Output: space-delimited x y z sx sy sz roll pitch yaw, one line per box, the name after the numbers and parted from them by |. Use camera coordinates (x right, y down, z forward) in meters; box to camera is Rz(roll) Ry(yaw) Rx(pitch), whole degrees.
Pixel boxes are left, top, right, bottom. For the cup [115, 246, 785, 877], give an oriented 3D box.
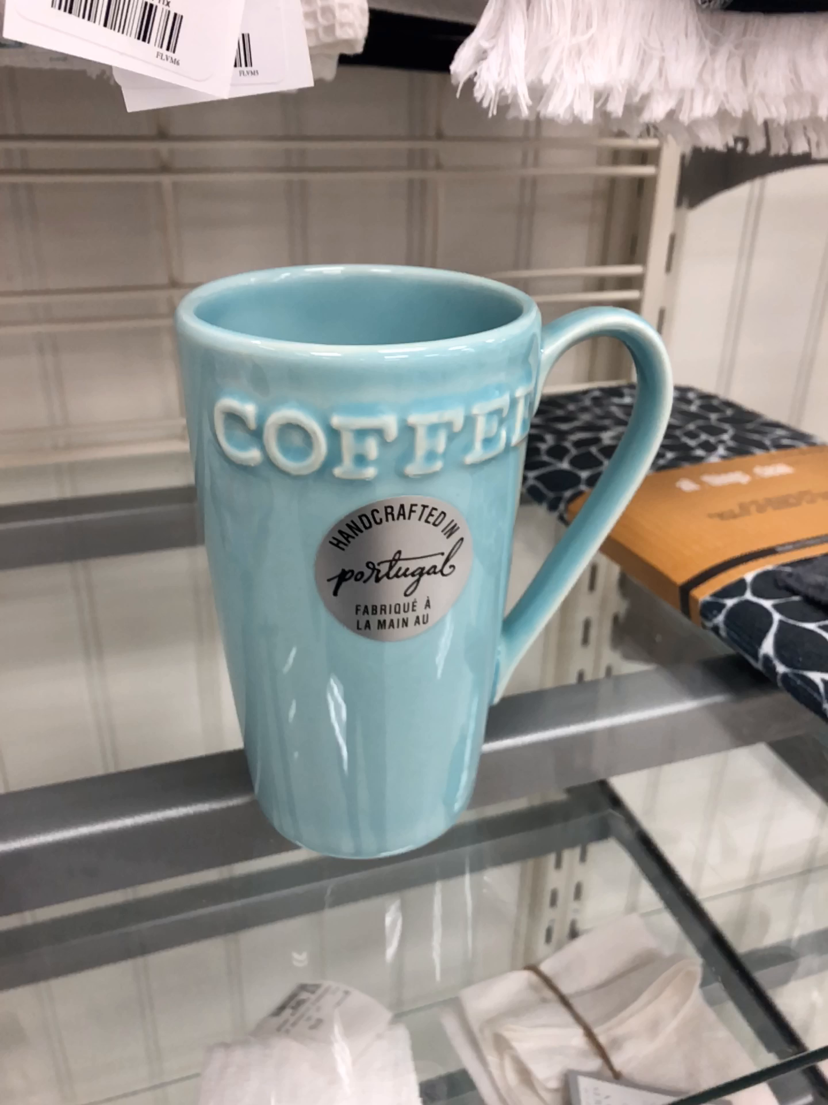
0.003 -0.002 0.249 0.130 0.139 0.091 -1 27 -5 | cup
